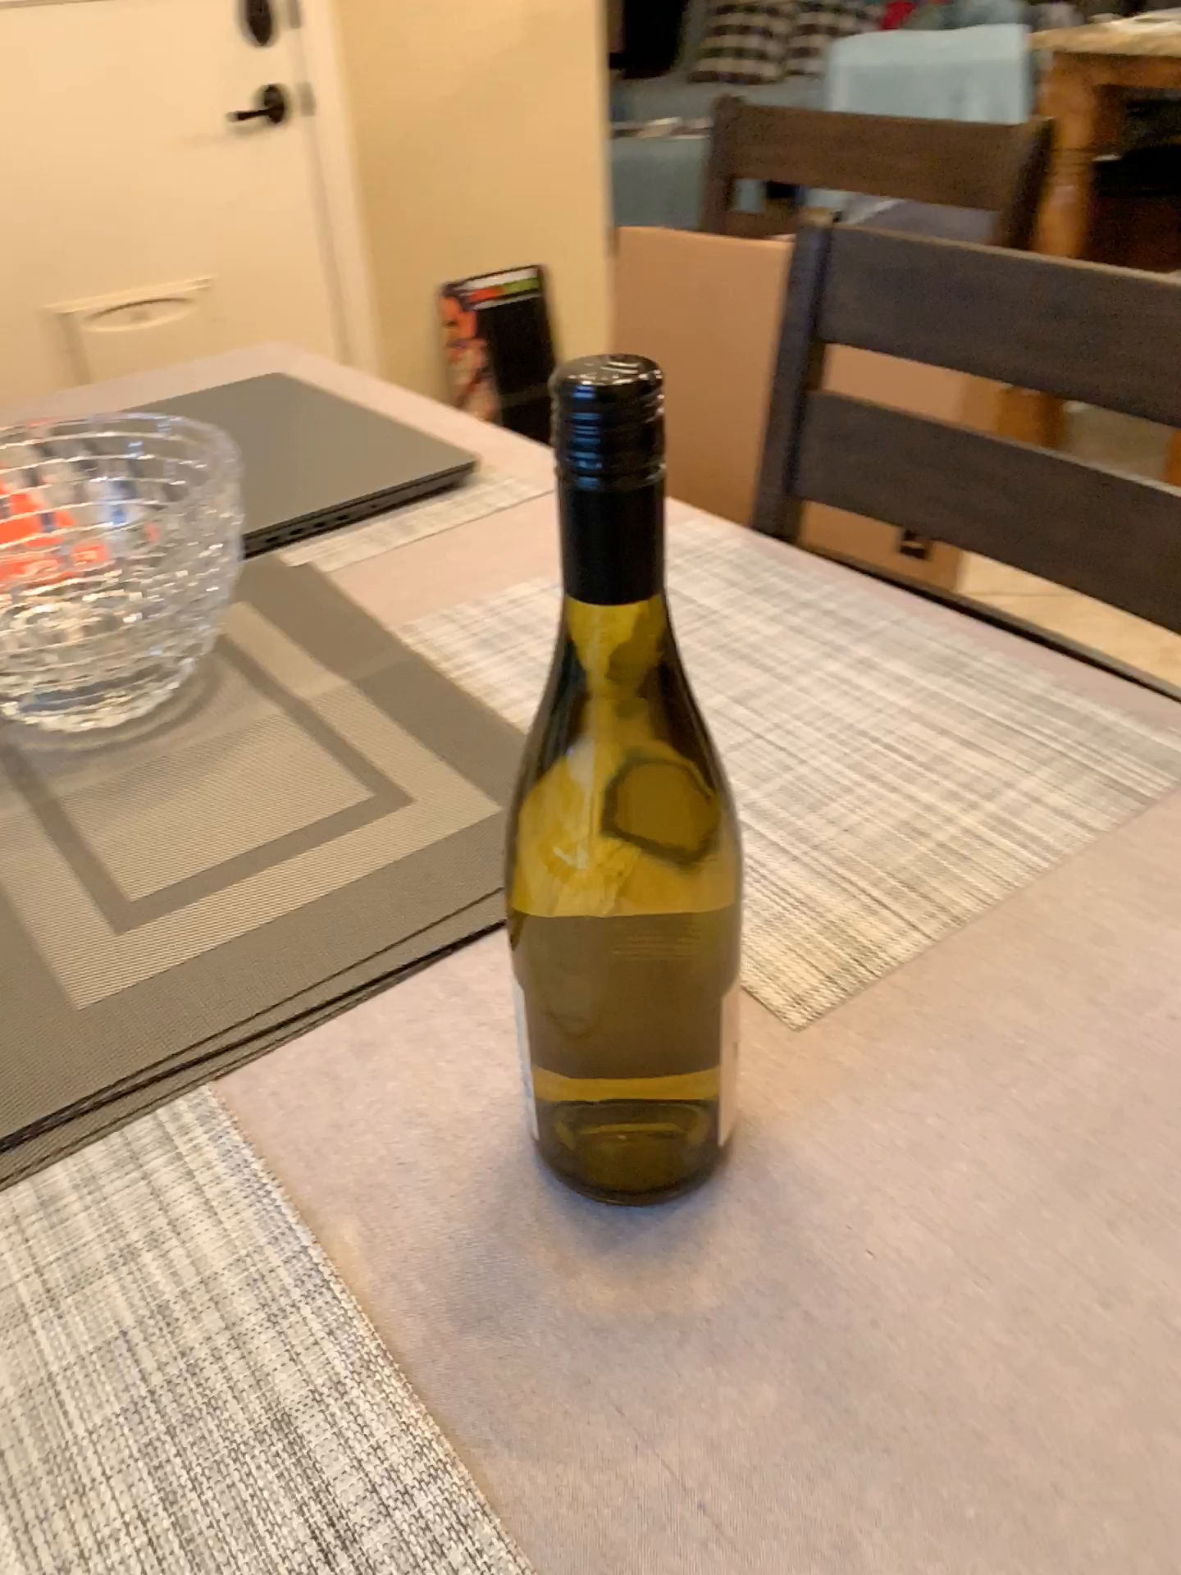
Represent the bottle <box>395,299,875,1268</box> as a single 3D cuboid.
[{"bbox_3d":[0.013,0.014,0.394,0.090,0.298,0.090,-2,35,1],"label":"bottle"}]
